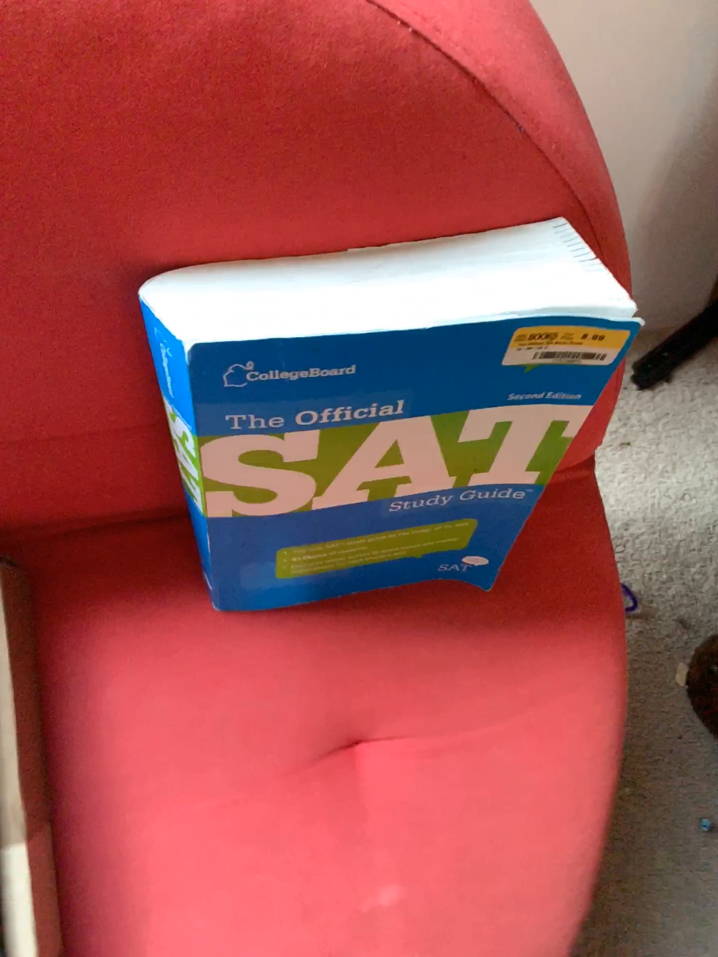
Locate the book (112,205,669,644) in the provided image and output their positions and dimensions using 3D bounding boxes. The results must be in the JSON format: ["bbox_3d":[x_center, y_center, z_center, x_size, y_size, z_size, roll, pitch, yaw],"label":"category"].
[{"bbox_3d":[0.005,-0.013,0.423,0.230,0.259,0.080,-5,52,-9],"label":"book"}]
